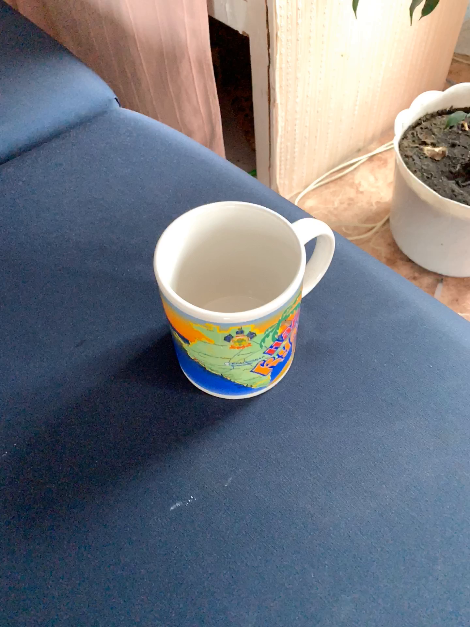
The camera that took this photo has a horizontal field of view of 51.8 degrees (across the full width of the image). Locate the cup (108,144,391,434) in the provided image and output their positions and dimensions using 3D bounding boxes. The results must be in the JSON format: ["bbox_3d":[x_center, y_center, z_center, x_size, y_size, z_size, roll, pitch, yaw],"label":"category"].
[{"bbox_3d":[0.011,-0.014,0.298,0.120,0.099,0.090,-37,62,-18],"label":"cup"}]
